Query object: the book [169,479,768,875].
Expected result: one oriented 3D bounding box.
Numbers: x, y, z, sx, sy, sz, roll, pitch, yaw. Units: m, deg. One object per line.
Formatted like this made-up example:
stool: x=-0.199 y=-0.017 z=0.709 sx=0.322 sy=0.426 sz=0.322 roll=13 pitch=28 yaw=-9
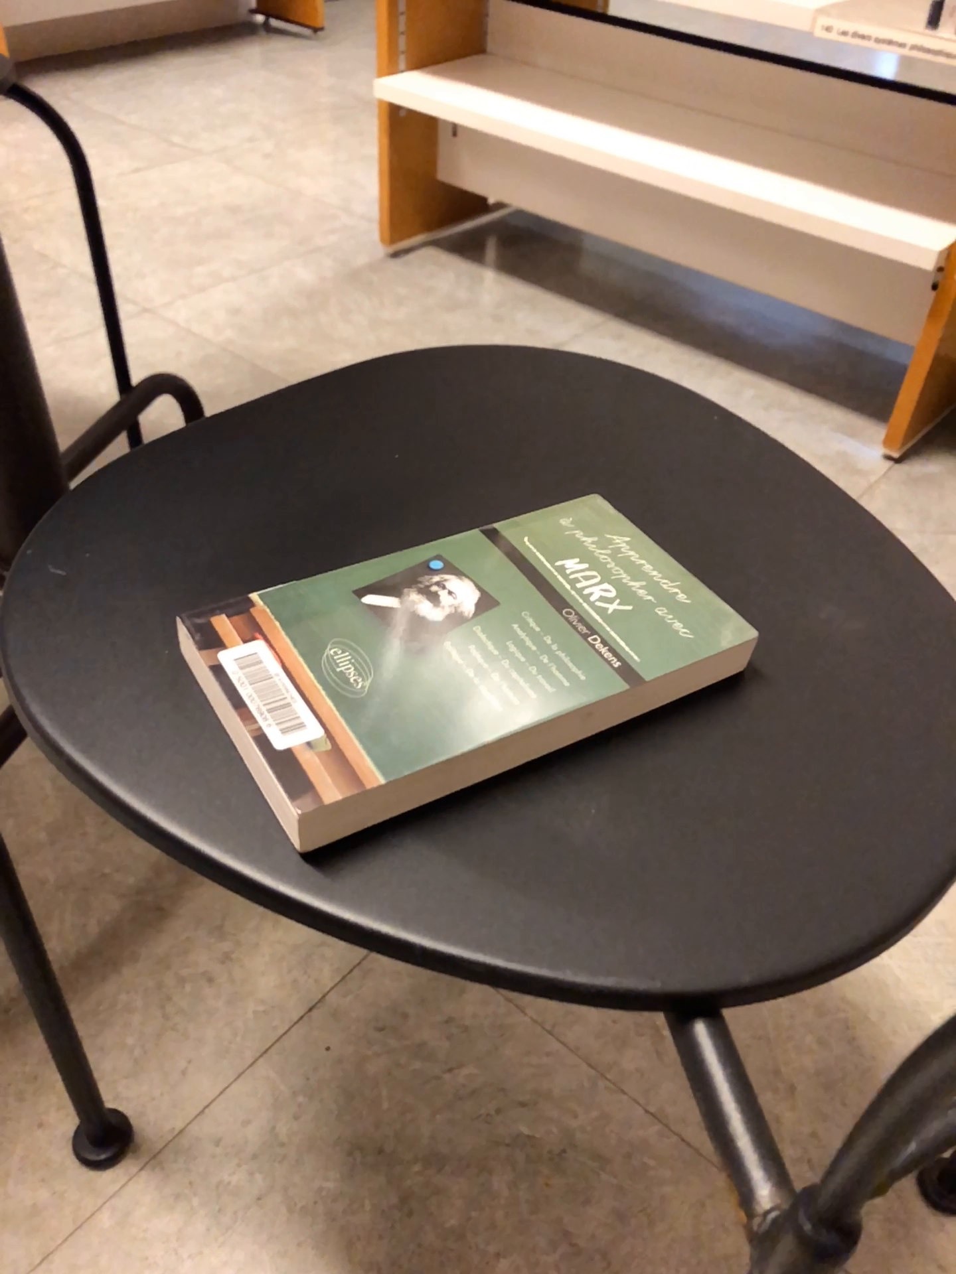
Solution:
book: x=-0.004 y=0.002 z=0.373 sx=0.177 sy=0.024 sz=0.110 roll=-19 pitch=46 yaw=-24
